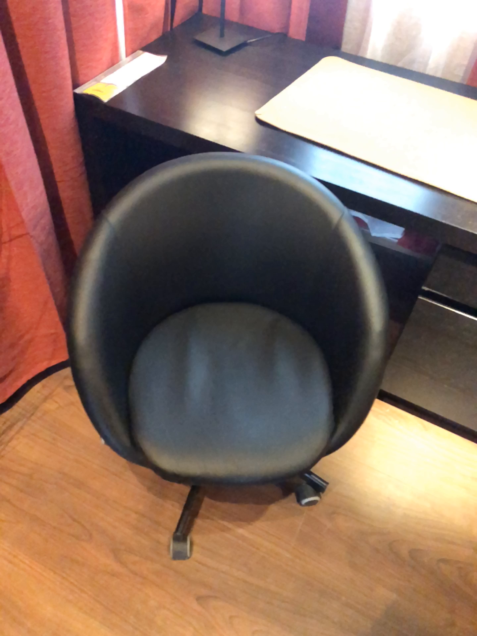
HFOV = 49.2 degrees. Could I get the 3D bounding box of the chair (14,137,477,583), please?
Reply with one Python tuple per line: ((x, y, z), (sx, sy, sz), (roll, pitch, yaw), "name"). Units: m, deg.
((0.001, 0.105, 1.076), (0.630, 0.696, 0.573), (-4, 50, -7), "chair")
